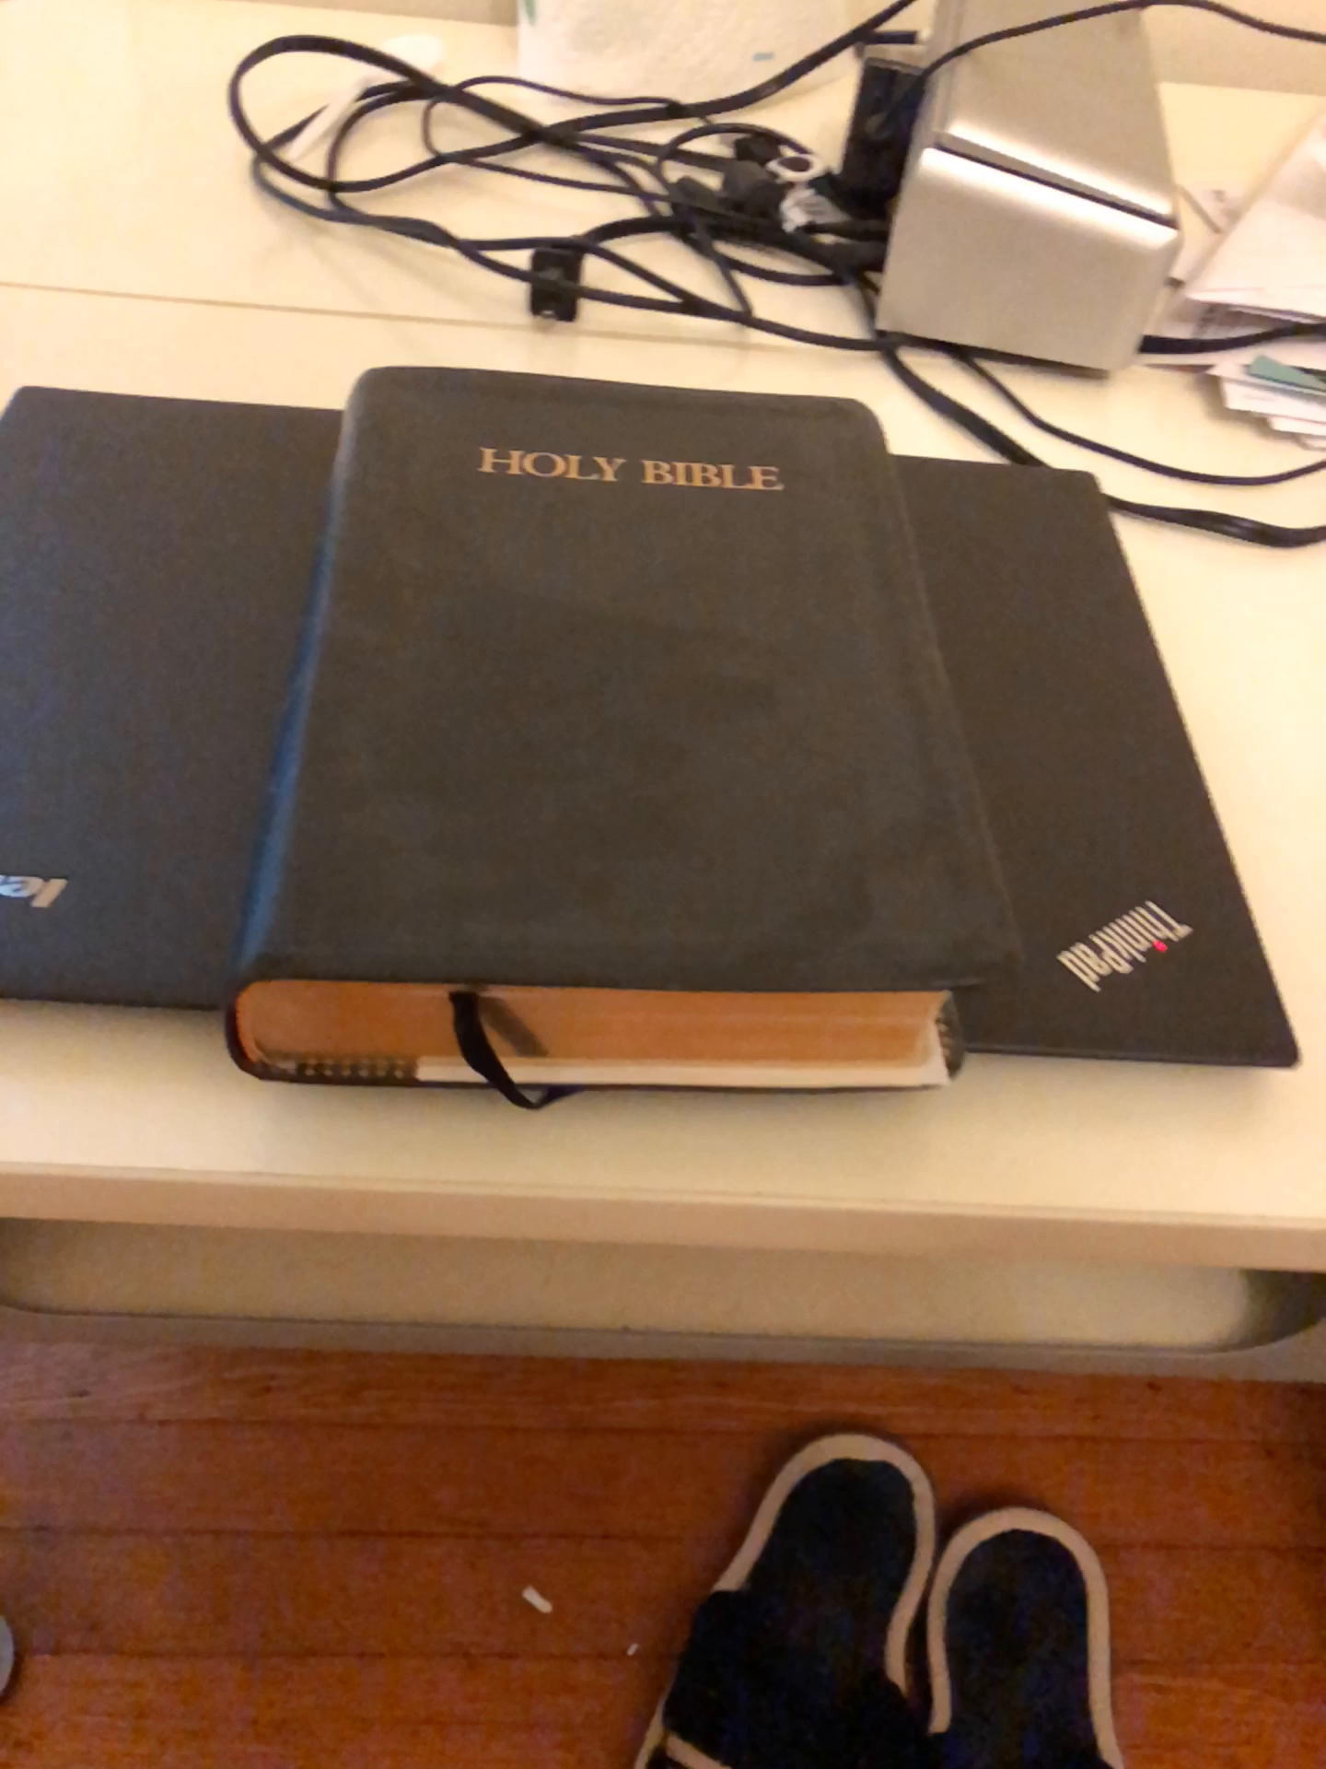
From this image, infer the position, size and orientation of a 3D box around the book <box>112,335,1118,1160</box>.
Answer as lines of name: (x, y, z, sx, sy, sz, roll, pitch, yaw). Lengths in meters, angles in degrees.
book: (-0.011, -0.050, 0.345, 0.170, 0.040, 0.241, 2, 46, -5)
